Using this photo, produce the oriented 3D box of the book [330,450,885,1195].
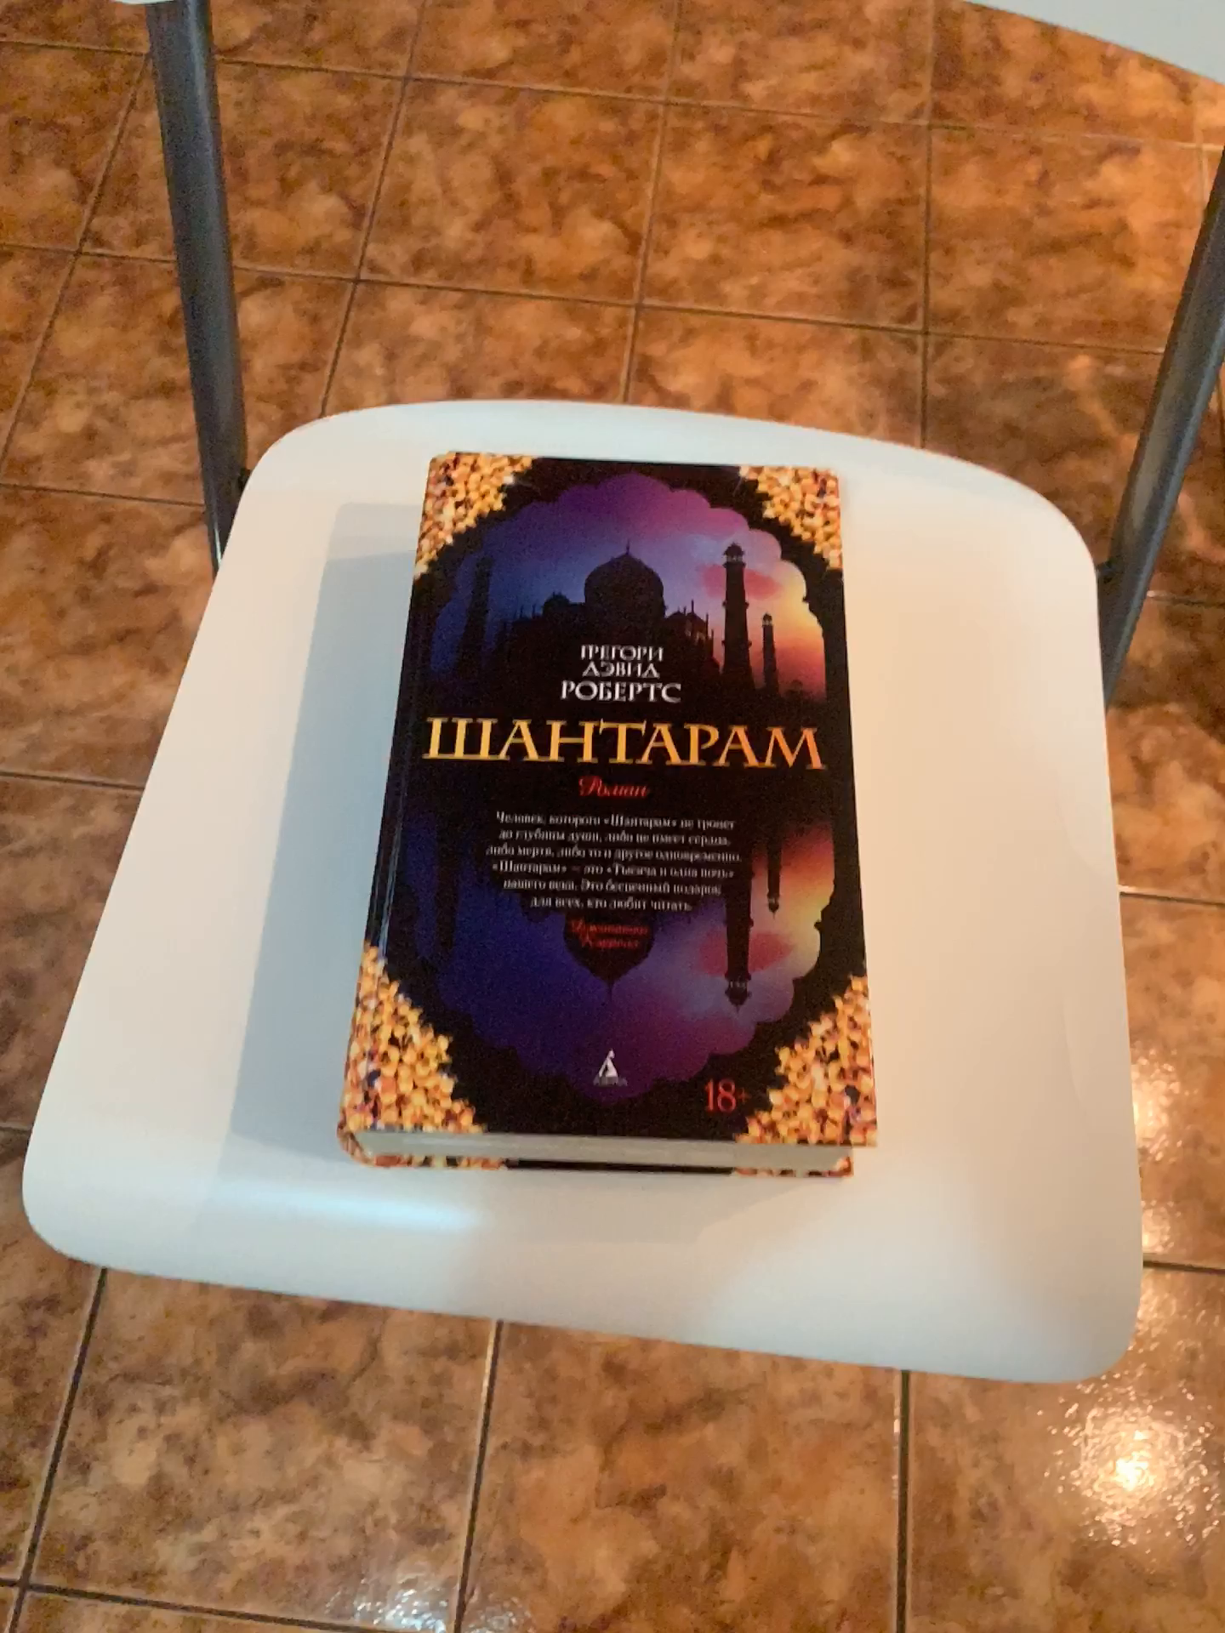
[{"bbox_3d":[0.003,-0.008,0.400,0.145,0.044,0.237,2,64,1],"label":"book"}]
